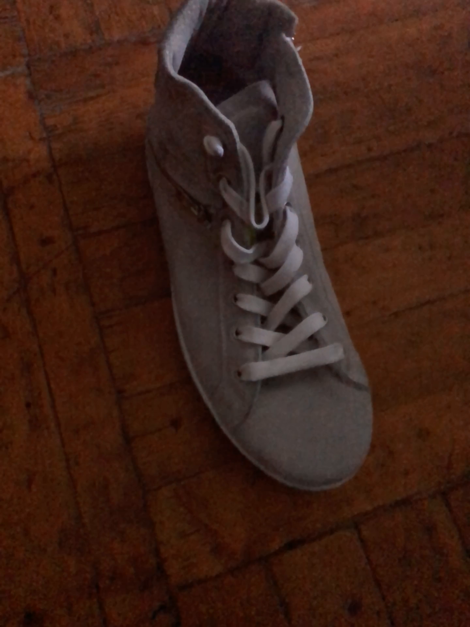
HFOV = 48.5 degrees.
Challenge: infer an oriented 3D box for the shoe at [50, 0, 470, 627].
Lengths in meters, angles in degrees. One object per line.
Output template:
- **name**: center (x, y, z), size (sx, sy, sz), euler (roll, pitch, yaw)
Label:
- **shoe**: center (0.015, -0.026, 0.320), size (0.130, 0.220, 0.310), euler (-14, 74, -1)
